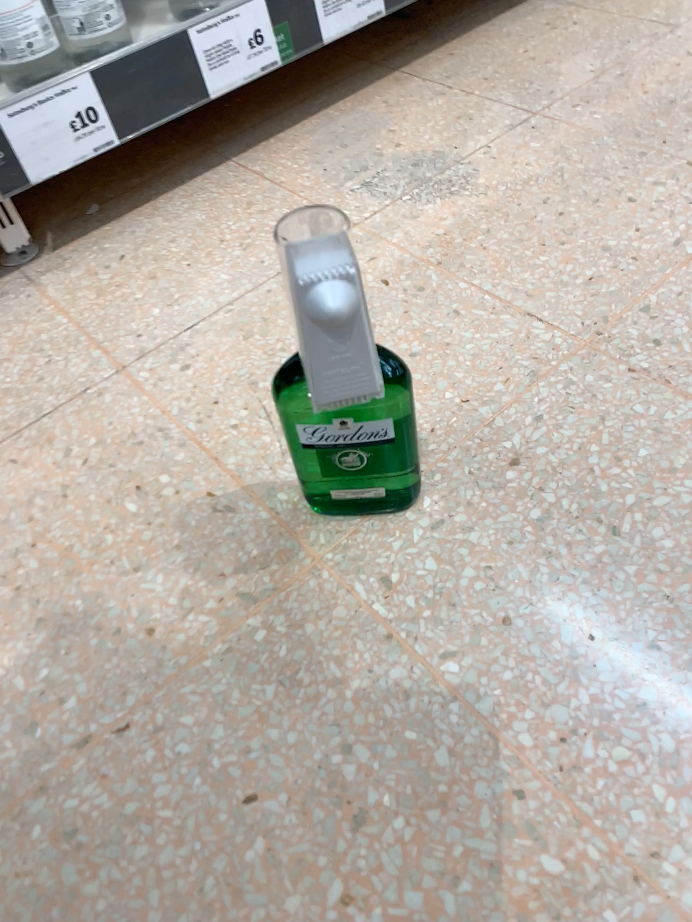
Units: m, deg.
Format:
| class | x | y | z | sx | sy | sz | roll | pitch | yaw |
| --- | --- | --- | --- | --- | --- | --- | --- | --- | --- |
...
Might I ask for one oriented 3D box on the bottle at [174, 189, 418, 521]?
| class | x | y | z | sx | sy | sz | roll | pitch | yaw |
| --- | --- | --- | --- | --- | --- | --- | --- | --- | --- |
| bottle | -0.015 | -0.048 | 0.420 | 0.102 | 0.203 | 0.056 | -4 | 49 | 8 |
